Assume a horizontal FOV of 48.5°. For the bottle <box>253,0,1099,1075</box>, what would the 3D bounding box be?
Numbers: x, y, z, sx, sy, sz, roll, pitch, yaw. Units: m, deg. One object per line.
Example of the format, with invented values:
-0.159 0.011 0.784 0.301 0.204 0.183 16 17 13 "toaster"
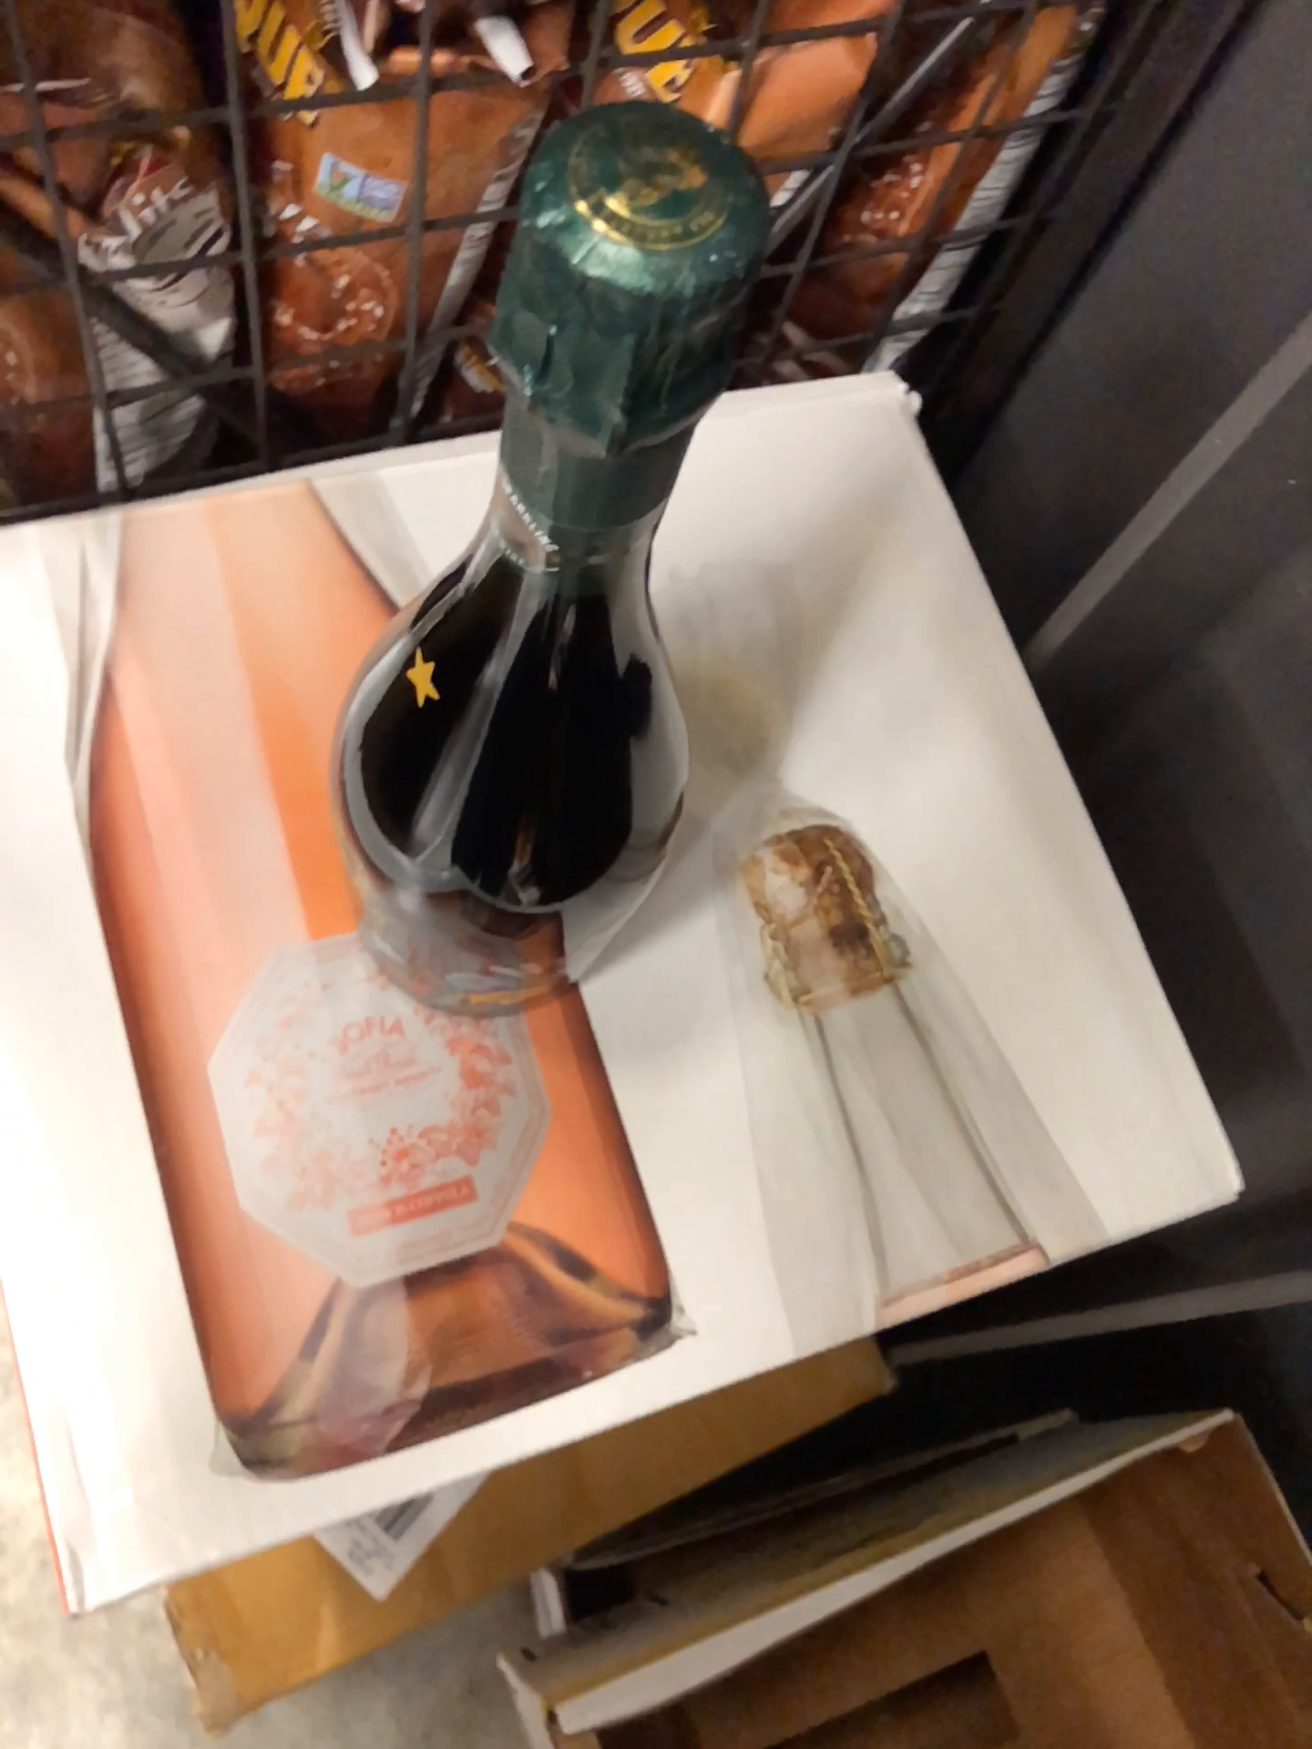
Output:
-0.027 -0.044 0.329 0.090 0.300 0.090 4 68 -10 "bottle"
